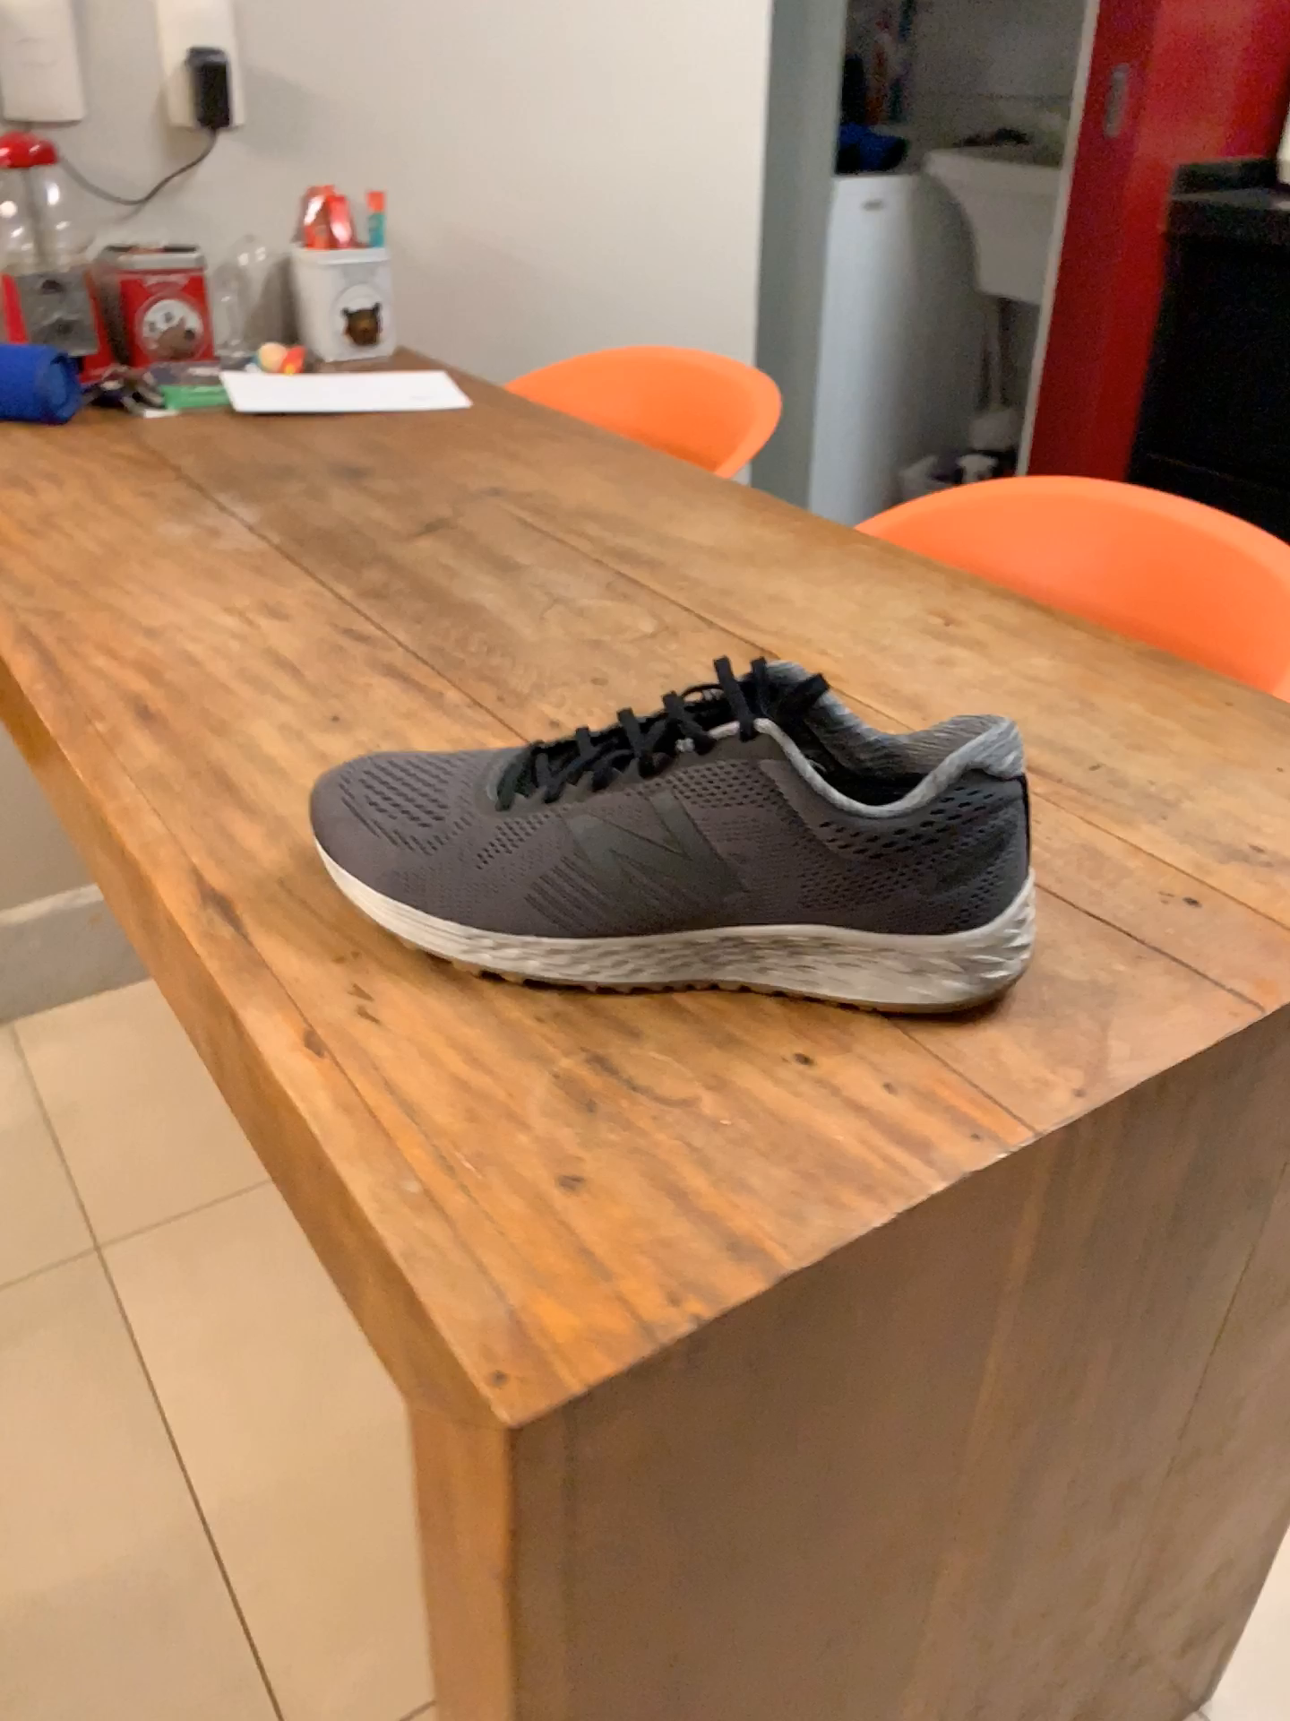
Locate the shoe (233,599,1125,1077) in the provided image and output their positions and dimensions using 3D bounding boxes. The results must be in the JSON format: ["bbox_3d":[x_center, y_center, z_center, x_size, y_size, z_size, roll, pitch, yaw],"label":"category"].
[{"bbox_3d":[0.013,-0.017,0.513,0.300,0.109,0.111,7,32,10],"label":"shoe"}]
